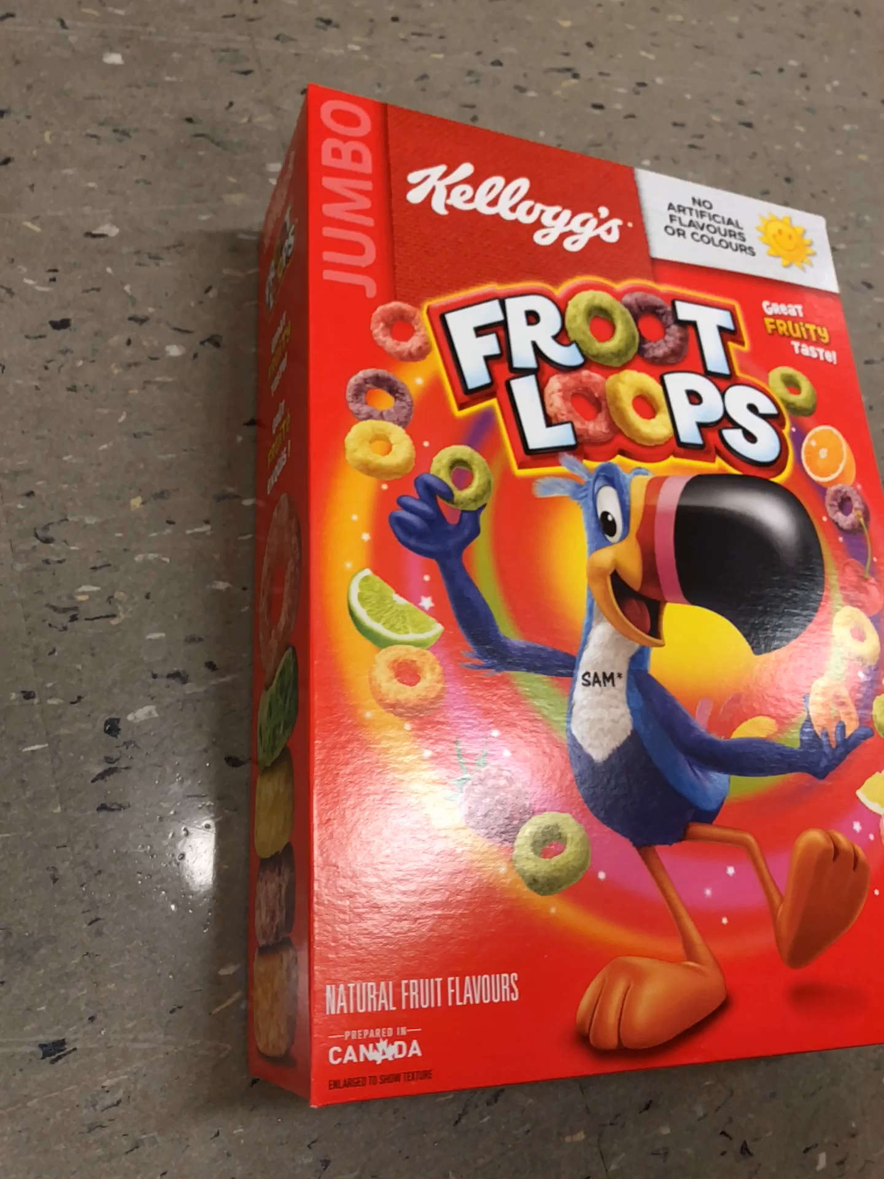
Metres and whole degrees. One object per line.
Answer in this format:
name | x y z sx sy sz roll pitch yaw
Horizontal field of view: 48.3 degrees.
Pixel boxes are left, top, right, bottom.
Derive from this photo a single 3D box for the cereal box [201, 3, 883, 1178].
cereal box | 0.063 -0.013 0.361 0.271 0.080 0.360 5 67 -20
